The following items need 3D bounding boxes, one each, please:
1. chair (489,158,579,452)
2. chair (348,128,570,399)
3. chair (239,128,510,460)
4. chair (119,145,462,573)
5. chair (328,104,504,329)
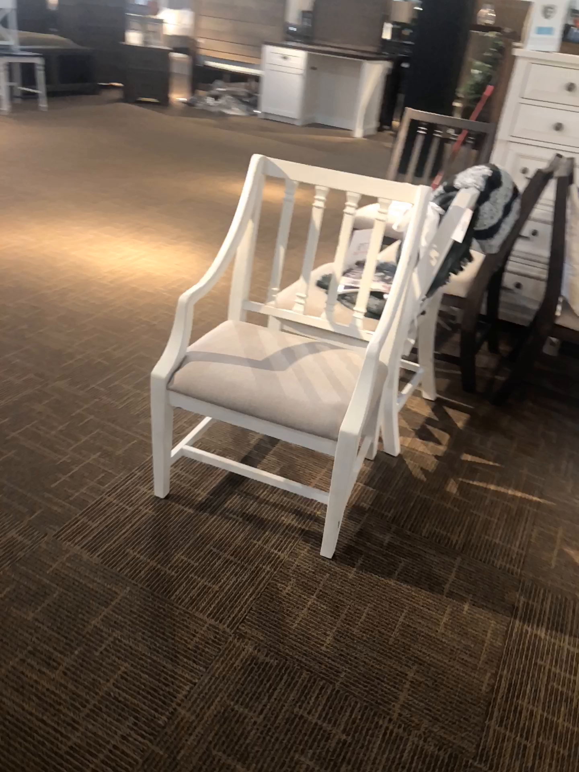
[{"bbox_3d":[1.357,-0.399,2.686,0.600,0.885,0.874,20,32,22],"label":"chair"},{"bbox_3d":[0.717,-0.557,2.716,0.580,0.885,0.683,20,32,21],"label":"chair"},{"bbox_3d":[0.273,-0.352,2.213,0.640,0.885,0.563,20,32,21],"label":"chair"},{"bbox_3d":[-0.004,-0.123,1.791,0.650,0.885,0.633,18,32,19],"label":"chair"},{"bbox_3d":[0.645,-0.907,3.320,0.540,0.955,0.603,22,33,25],"label":"chair"}]
